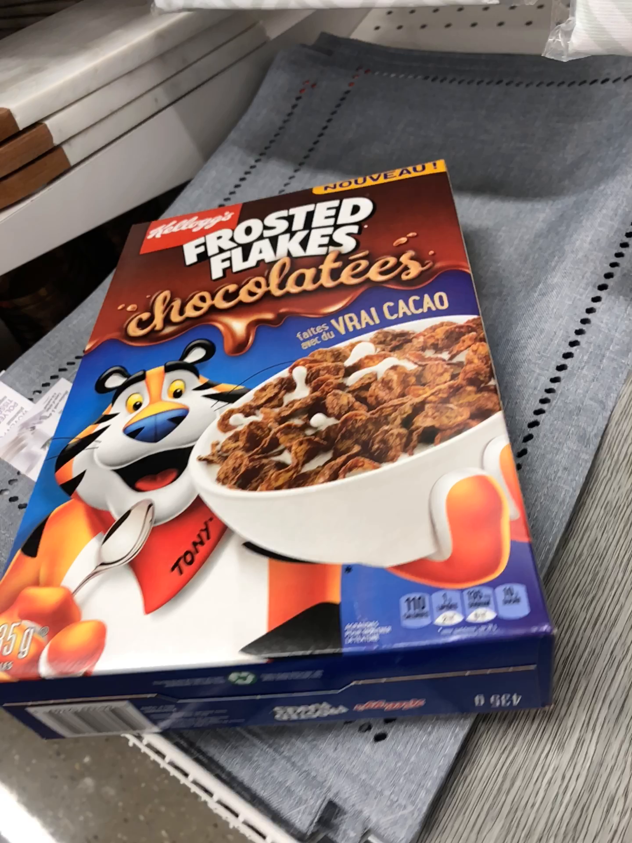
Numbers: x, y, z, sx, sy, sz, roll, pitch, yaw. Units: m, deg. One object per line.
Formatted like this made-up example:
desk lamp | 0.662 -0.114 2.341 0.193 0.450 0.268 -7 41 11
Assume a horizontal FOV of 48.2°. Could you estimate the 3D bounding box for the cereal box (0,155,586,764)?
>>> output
cereal box | -0.013 -0.009 0.356 0.210 0.070 0.311 -9 44 10
